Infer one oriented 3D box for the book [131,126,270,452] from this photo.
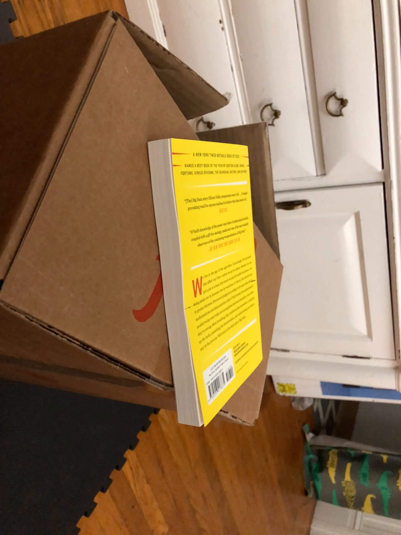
[{"bbox_3d":[0.012,0.006,0.360,0.151,0.020,0.220,-23,110,-58],"label":"book"}]
